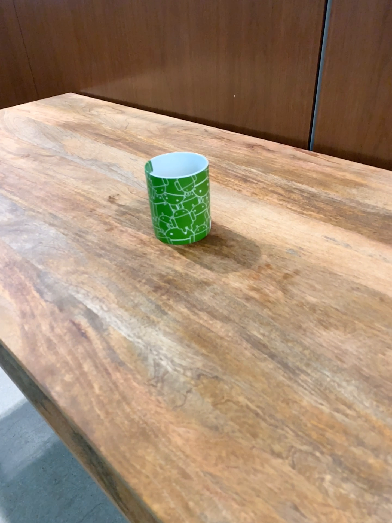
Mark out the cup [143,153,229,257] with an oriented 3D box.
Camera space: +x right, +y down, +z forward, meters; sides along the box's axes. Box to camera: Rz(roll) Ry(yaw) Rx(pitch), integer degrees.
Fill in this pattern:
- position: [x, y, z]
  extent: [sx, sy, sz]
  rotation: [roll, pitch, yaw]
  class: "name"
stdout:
- position: [-0.015, -0.080, 0.537]
  extent: [0.100, 0.080, 0.131]
  rotation: [-5, 36, -2]
  class: "cup"
